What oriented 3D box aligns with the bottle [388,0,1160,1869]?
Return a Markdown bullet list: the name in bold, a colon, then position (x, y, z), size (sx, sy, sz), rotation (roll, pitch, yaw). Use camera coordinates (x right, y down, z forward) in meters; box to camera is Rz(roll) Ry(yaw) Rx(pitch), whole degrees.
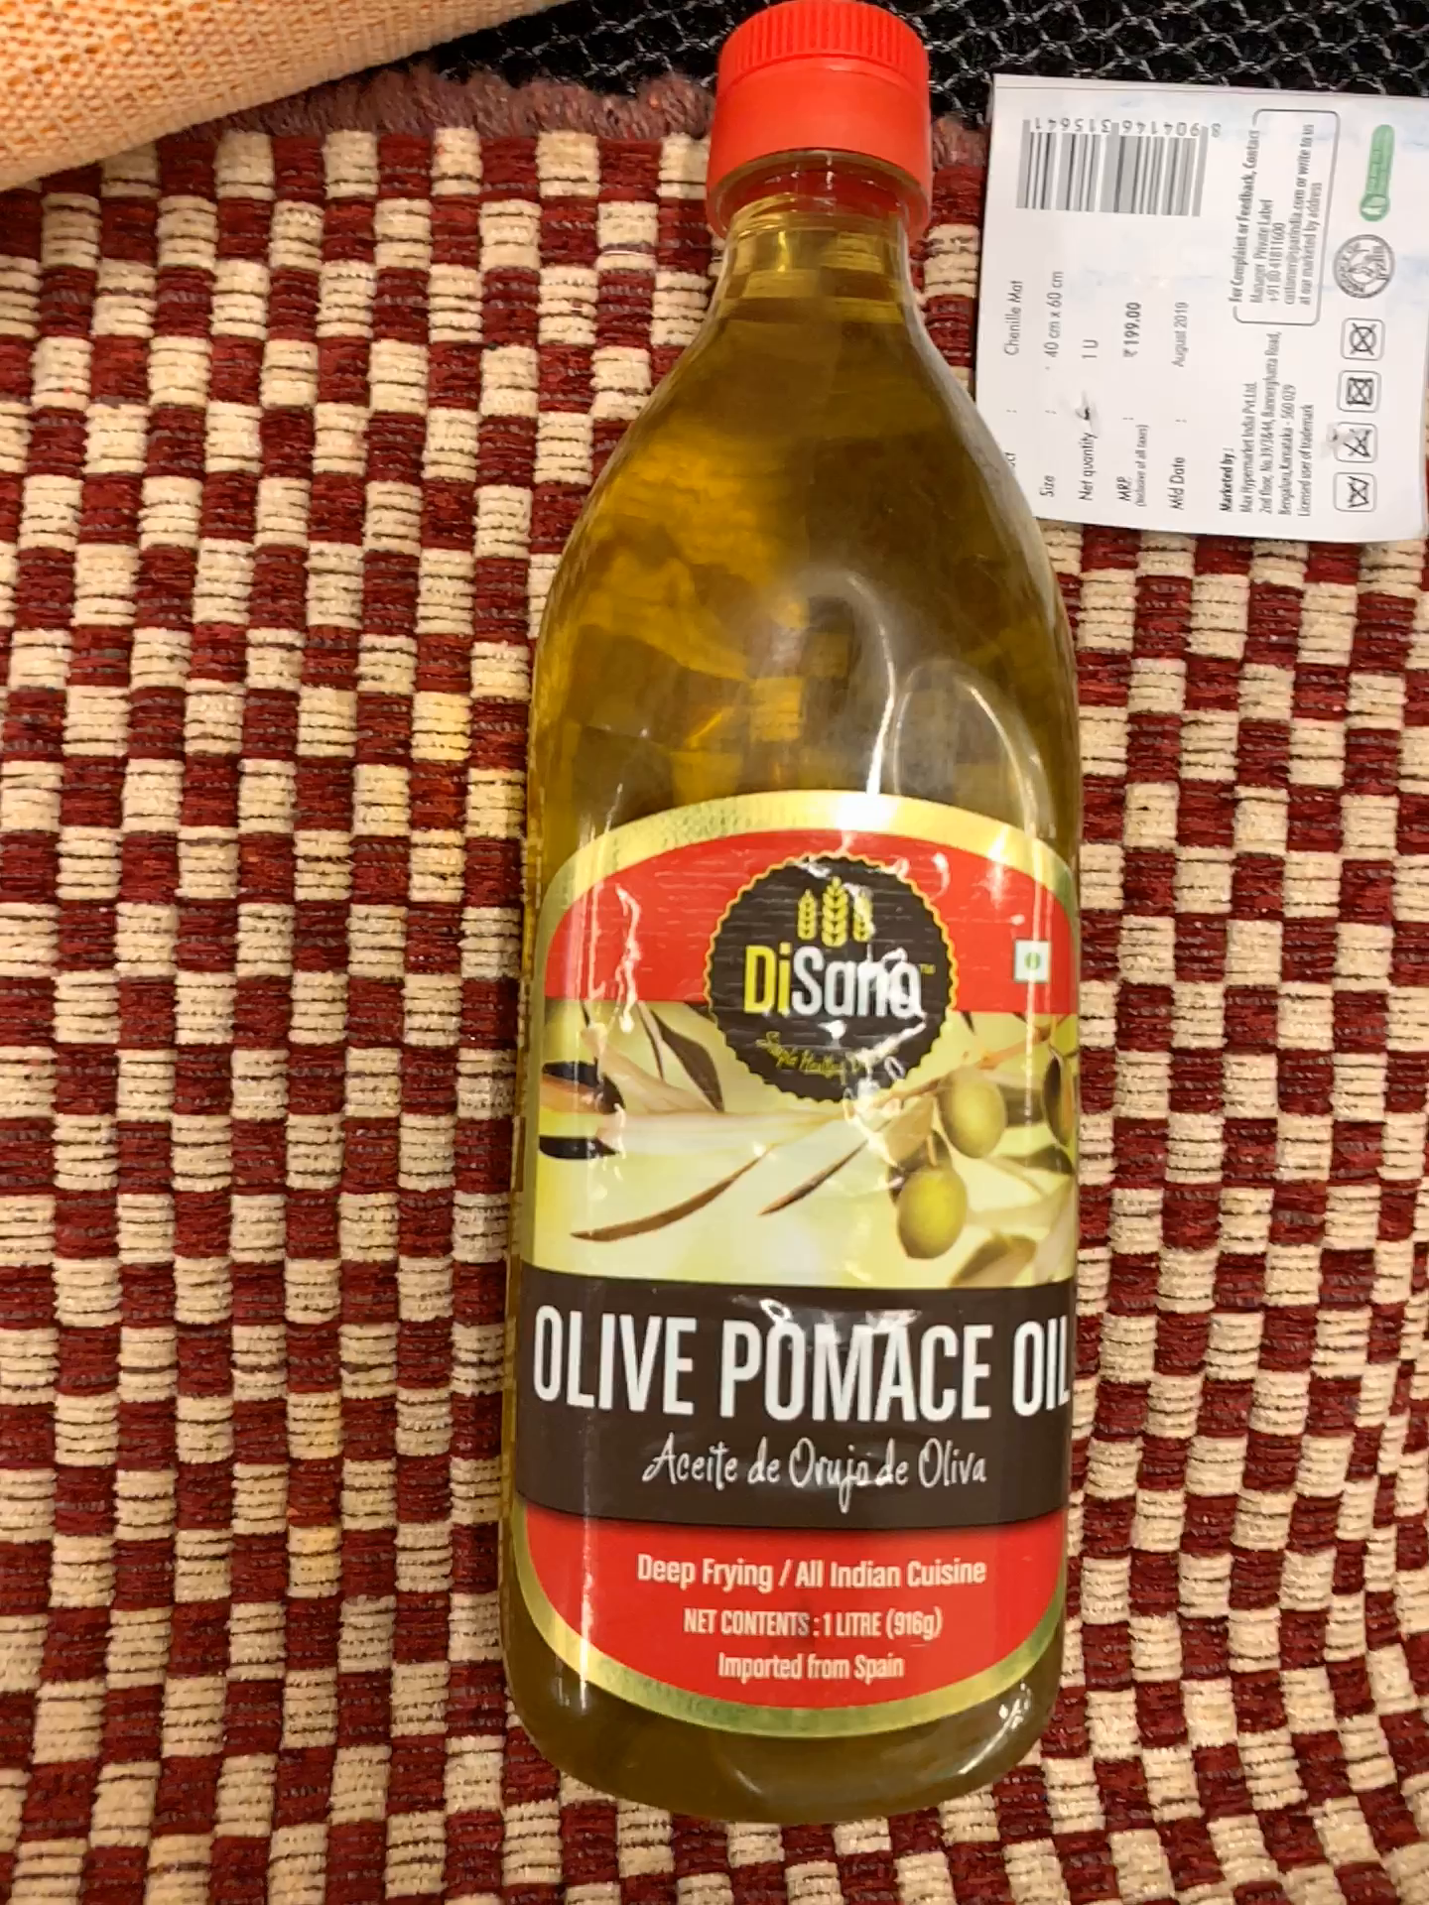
- **bottle**: position (0.003, -0.003, 0.207), size (0.080, 0.080, 0.210), rotation (3, 89, -9)
